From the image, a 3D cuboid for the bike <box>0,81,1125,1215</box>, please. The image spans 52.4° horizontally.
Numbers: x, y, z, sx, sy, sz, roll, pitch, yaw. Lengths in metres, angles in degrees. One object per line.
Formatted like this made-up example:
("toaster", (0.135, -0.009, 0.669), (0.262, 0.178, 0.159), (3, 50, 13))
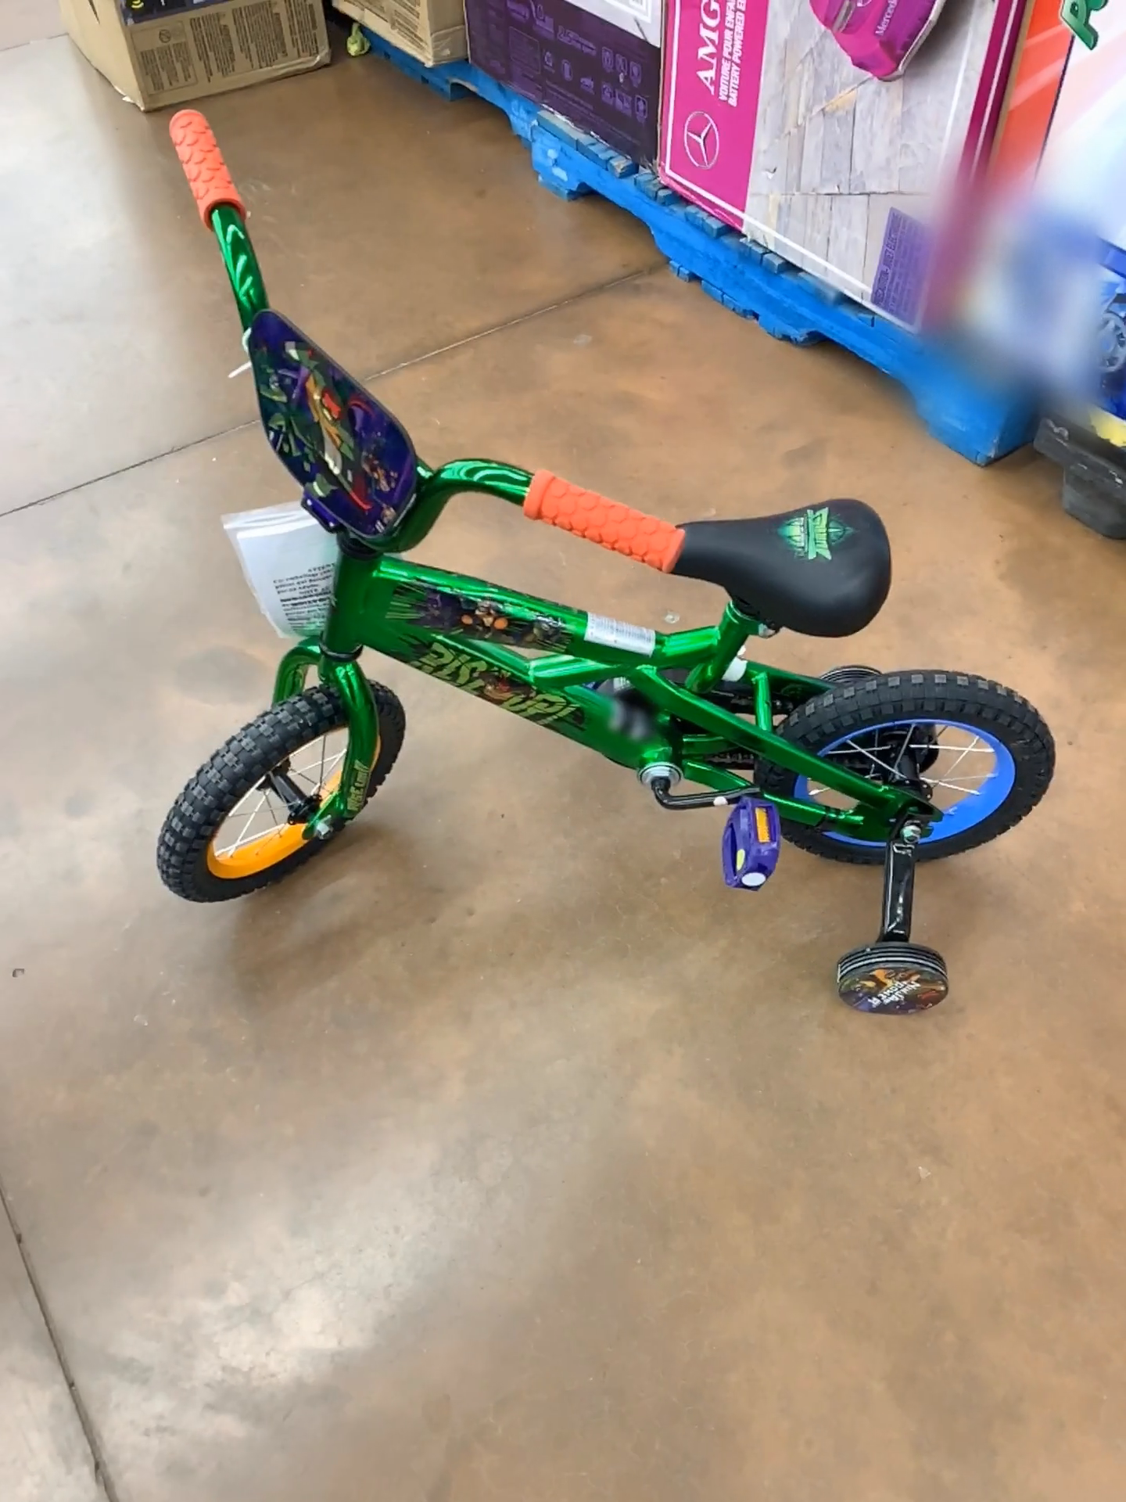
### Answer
("bike", (0.054, -0.049, 0.917), (0.828, 0.677, 0.533), (-2, 50, -1))
